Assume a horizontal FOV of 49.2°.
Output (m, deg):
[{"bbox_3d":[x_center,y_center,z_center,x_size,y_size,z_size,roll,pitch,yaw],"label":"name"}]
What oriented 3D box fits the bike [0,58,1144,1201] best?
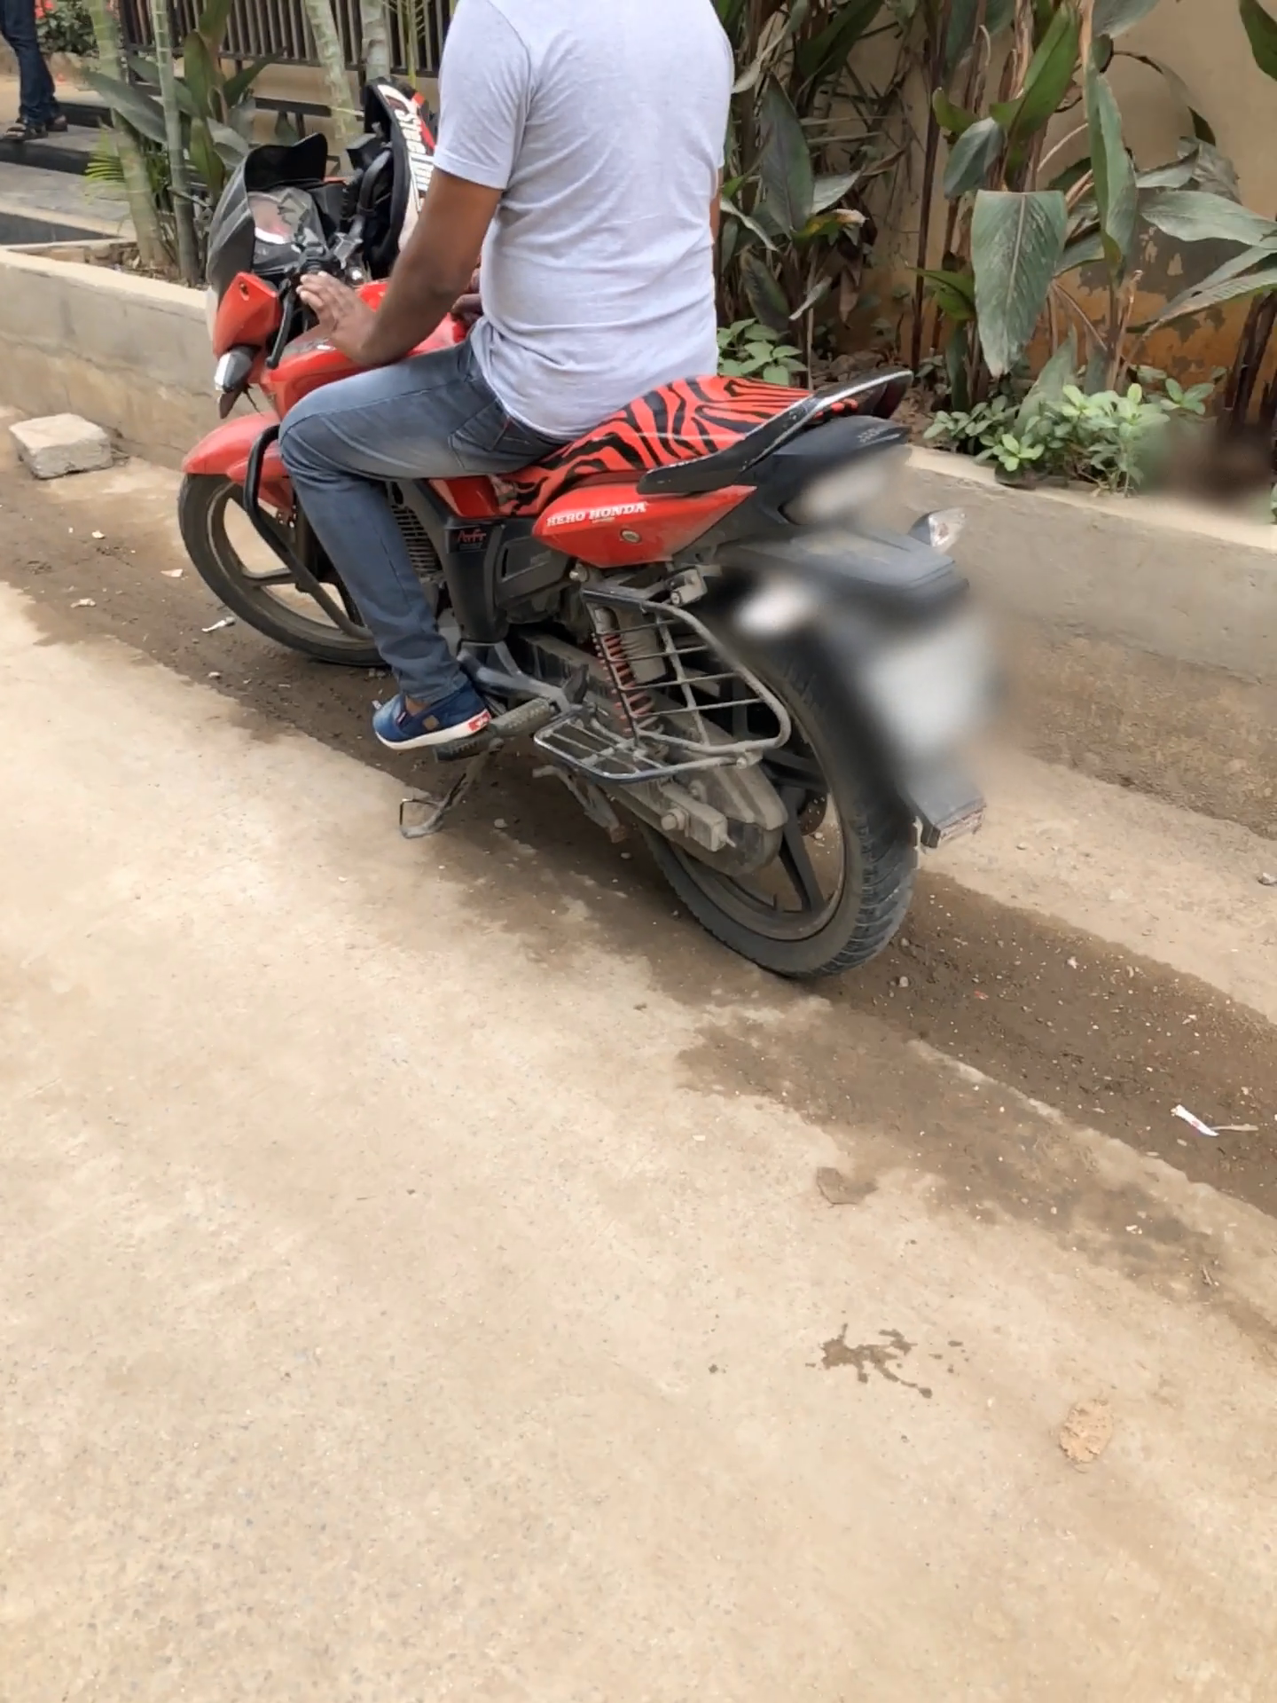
[{"bbox_3d":[-0.325,-0.521,2.248,0.692,1.207,1.790,-27,42,-37],"label":"bike"}]
